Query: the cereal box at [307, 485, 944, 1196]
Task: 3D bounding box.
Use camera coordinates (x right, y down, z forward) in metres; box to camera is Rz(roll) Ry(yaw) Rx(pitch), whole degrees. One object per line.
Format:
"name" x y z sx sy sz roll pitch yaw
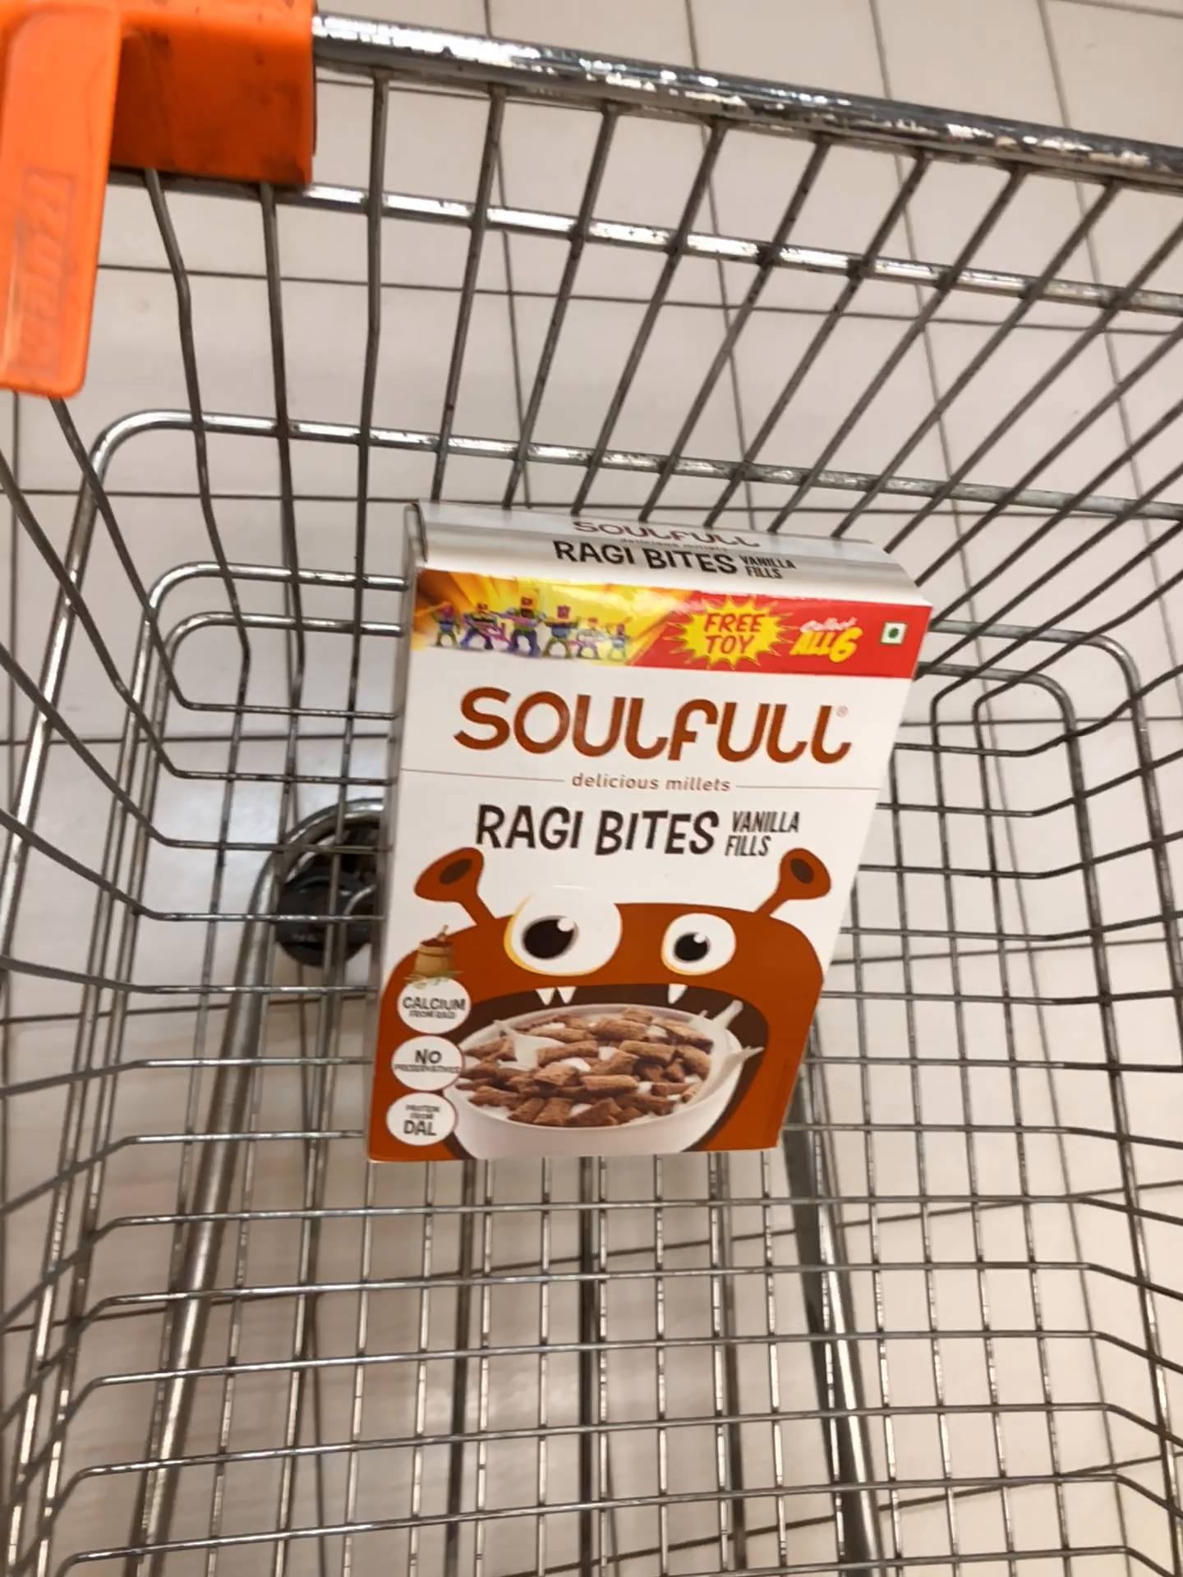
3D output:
"cereal box" -0.004 0.030 0.477 0.180 0.249 0.070 2 31 -15
